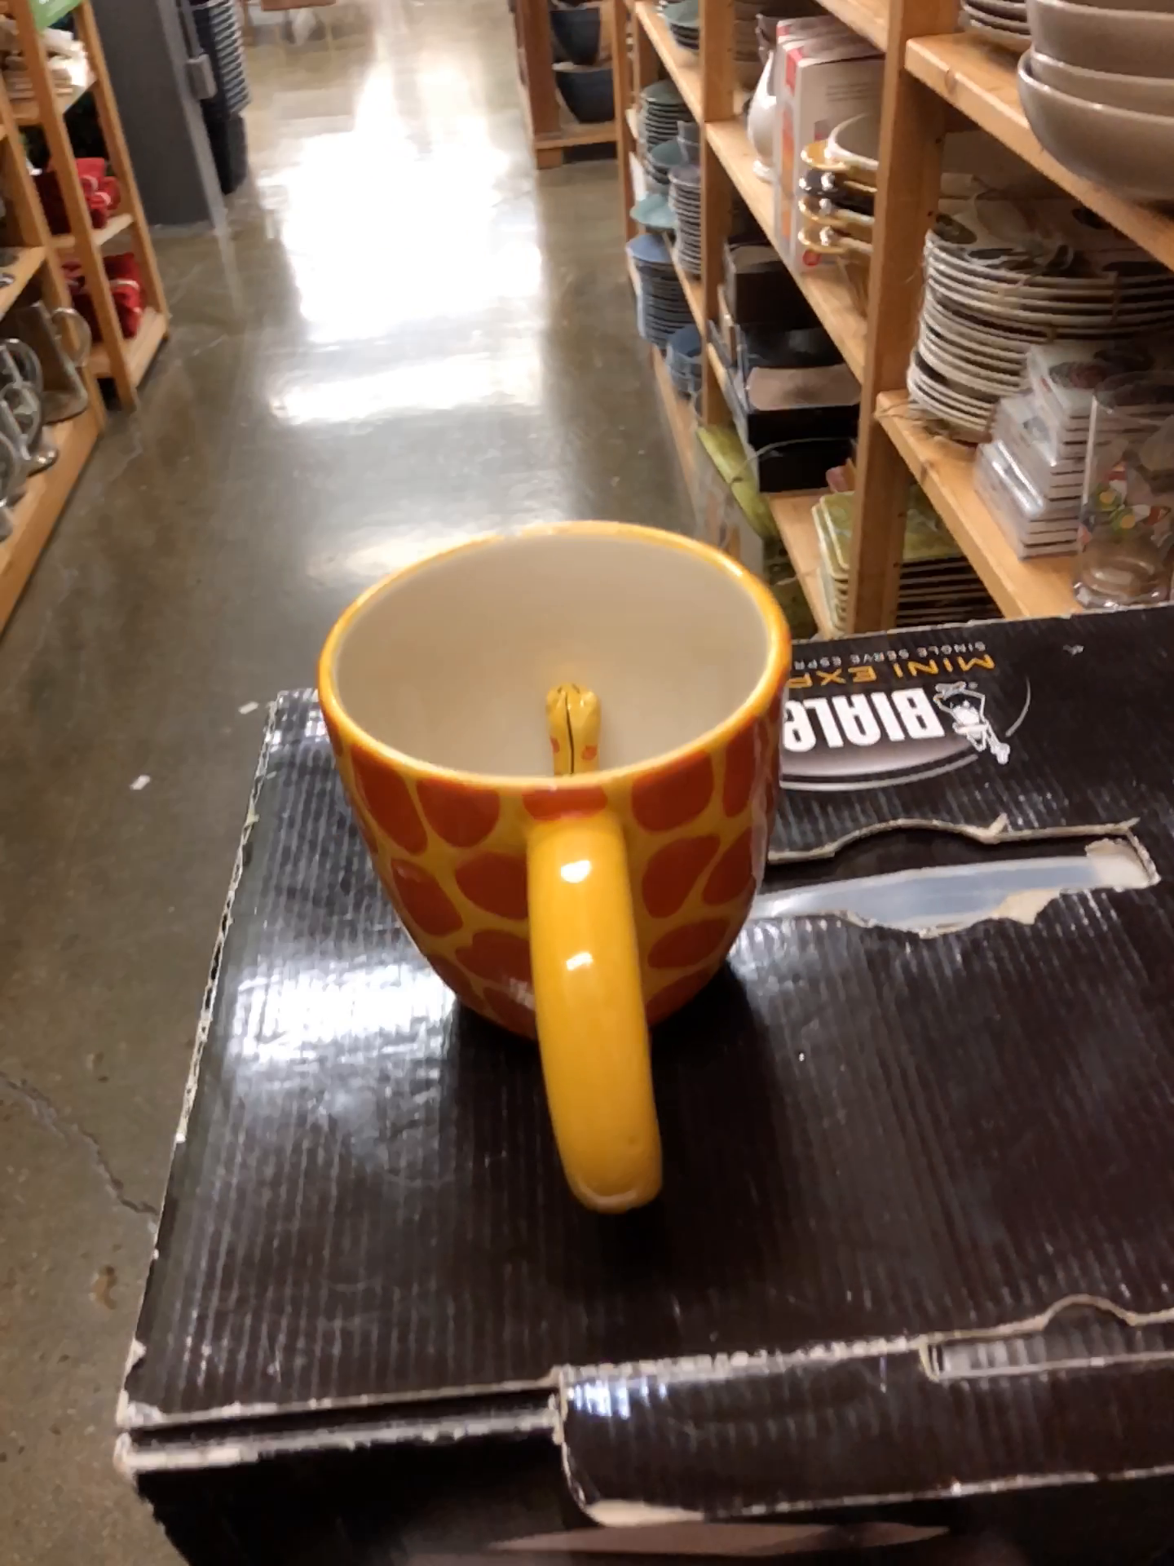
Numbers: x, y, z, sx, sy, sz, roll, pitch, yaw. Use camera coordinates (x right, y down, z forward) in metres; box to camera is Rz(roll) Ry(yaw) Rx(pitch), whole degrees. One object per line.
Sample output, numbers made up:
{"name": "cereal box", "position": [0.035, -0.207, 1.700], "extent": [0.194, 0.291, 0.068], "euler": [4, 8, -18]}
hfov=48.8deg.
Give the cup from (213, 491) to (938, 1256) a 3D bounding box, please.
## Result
{"name": "cup", "position": [-0.002, 0.009, 0.254], "extent": [0.102, 0.067, 0.134], "euler": [-5, 40, 1]}
